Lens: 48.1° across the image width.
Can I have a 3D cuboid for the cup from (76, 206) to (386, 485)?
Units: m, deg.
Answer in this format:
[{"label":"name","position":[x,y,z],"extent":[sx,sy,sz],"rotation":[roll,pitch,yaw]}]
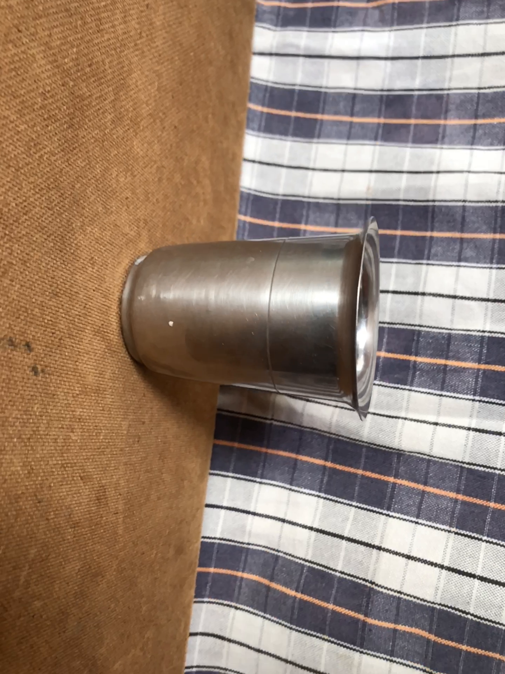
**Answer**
[{"label":"cup","position":[0.002,0.003,0.240],"extent":[0.080,0.099,0.080],"rotation":[3,90,-74]}]
